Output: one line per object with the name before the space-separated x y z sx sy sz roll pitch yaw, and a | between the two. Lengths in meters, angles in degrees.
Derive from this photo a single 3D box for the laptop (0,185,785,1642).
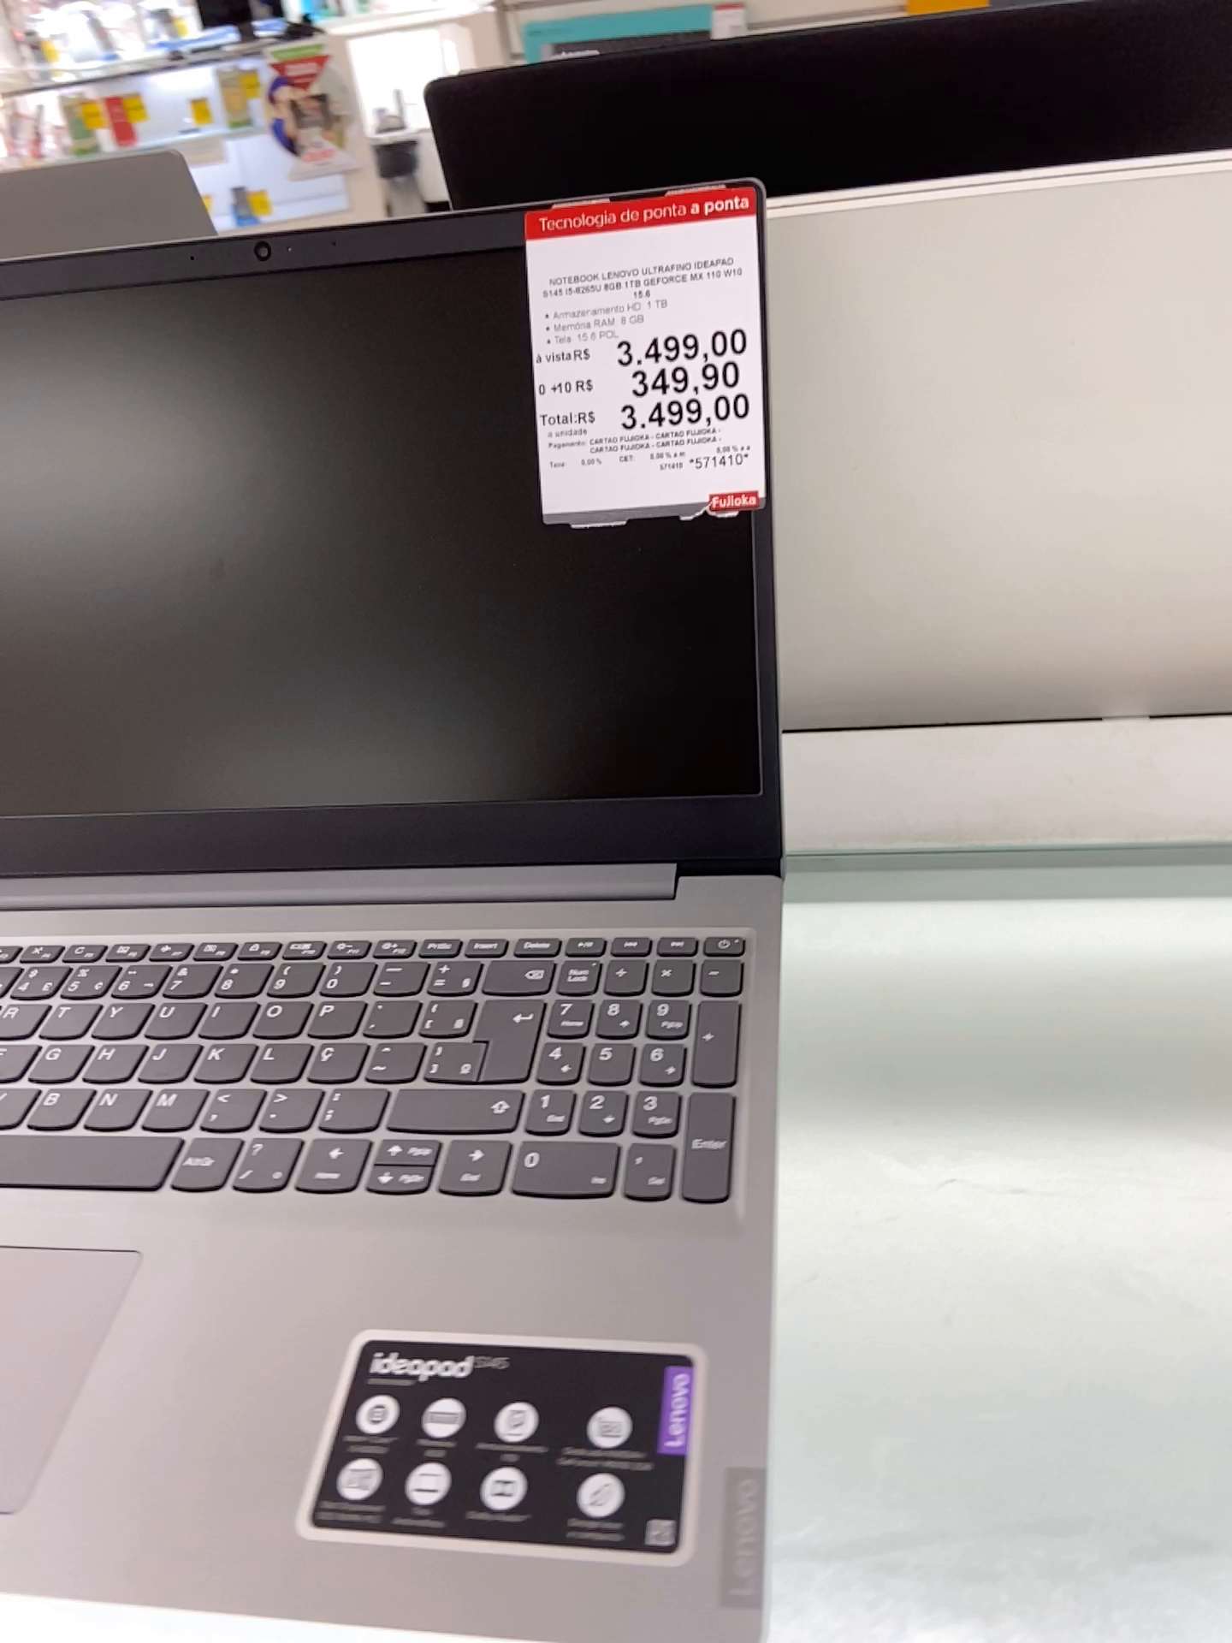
laptop | -0.137 -0.020 0.371 0.359 0.201 0.368 -1 37 10
